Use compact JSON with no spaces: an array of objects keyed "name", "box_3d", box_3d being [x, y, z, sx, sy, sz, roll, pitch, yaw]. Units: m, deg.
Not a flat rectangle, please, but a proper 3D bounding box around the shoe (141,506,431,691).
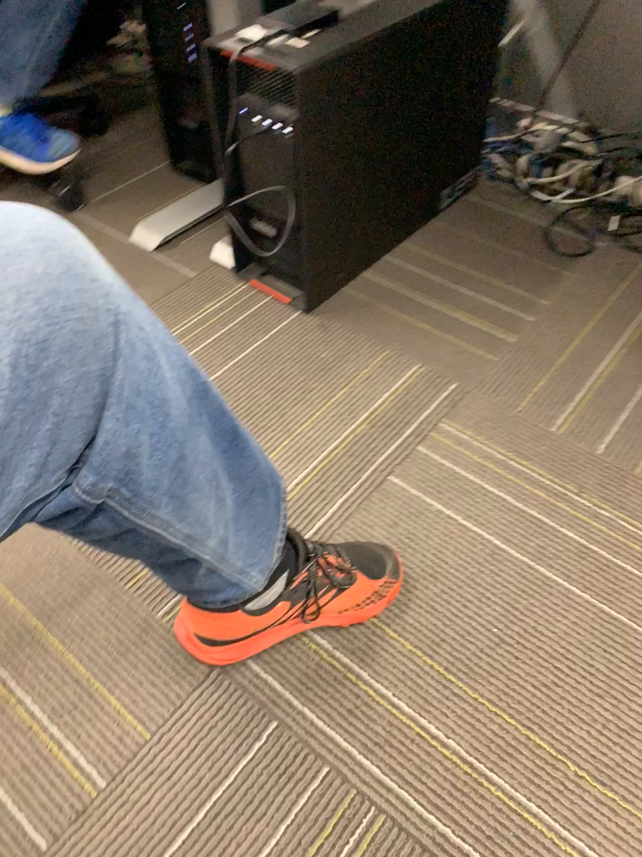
[{"name":"shoe","box_3d":[-0.037,0.191,0.800,0.314,0.106,0.127,-2,34,-36]}]
